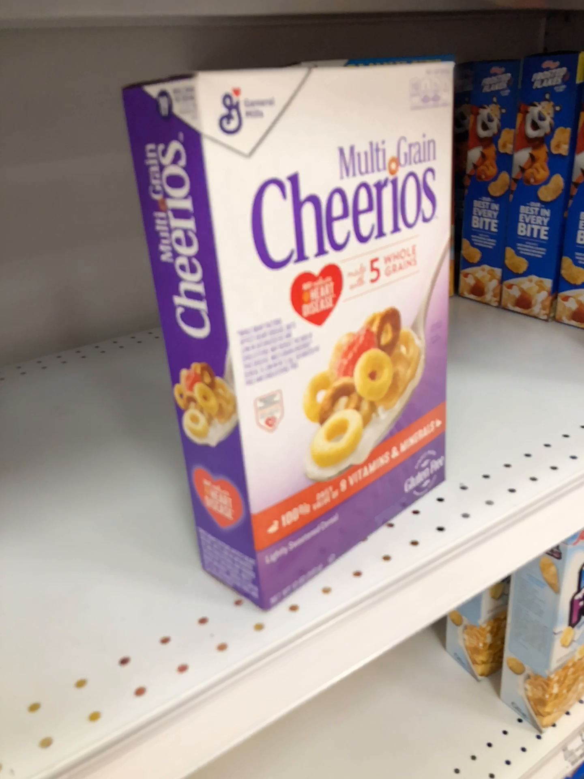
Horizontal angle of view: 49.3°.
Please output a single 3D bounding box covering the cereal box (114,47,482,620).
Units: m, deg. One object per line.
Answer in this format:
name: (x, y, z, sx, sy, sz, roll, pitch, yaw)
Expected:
cereal box: (0.027, -0.044, 0.405, 0.210, 0.299, 0.070, -25, 31, -37)
